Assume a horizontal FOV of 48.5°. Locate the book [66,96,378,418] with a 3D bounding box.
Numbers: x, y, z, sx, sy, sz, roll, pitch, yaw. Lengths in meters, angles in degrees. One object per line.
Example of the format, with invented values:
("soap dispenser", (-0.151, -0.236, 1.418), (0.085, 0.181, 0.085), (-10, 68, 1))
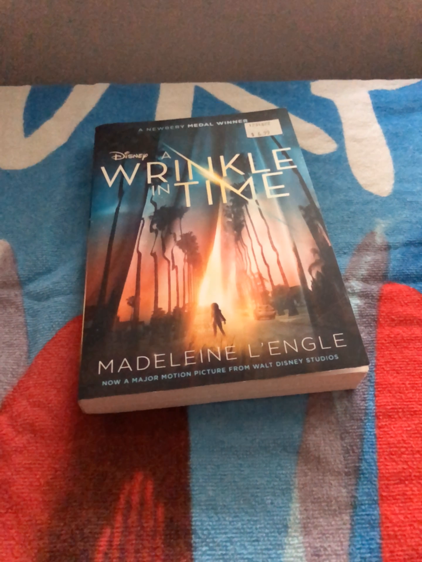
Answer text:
("book", (-0.003, -0.029, 0.272), (0.138, 0.031, 0.196), (-5, 57, -1))
